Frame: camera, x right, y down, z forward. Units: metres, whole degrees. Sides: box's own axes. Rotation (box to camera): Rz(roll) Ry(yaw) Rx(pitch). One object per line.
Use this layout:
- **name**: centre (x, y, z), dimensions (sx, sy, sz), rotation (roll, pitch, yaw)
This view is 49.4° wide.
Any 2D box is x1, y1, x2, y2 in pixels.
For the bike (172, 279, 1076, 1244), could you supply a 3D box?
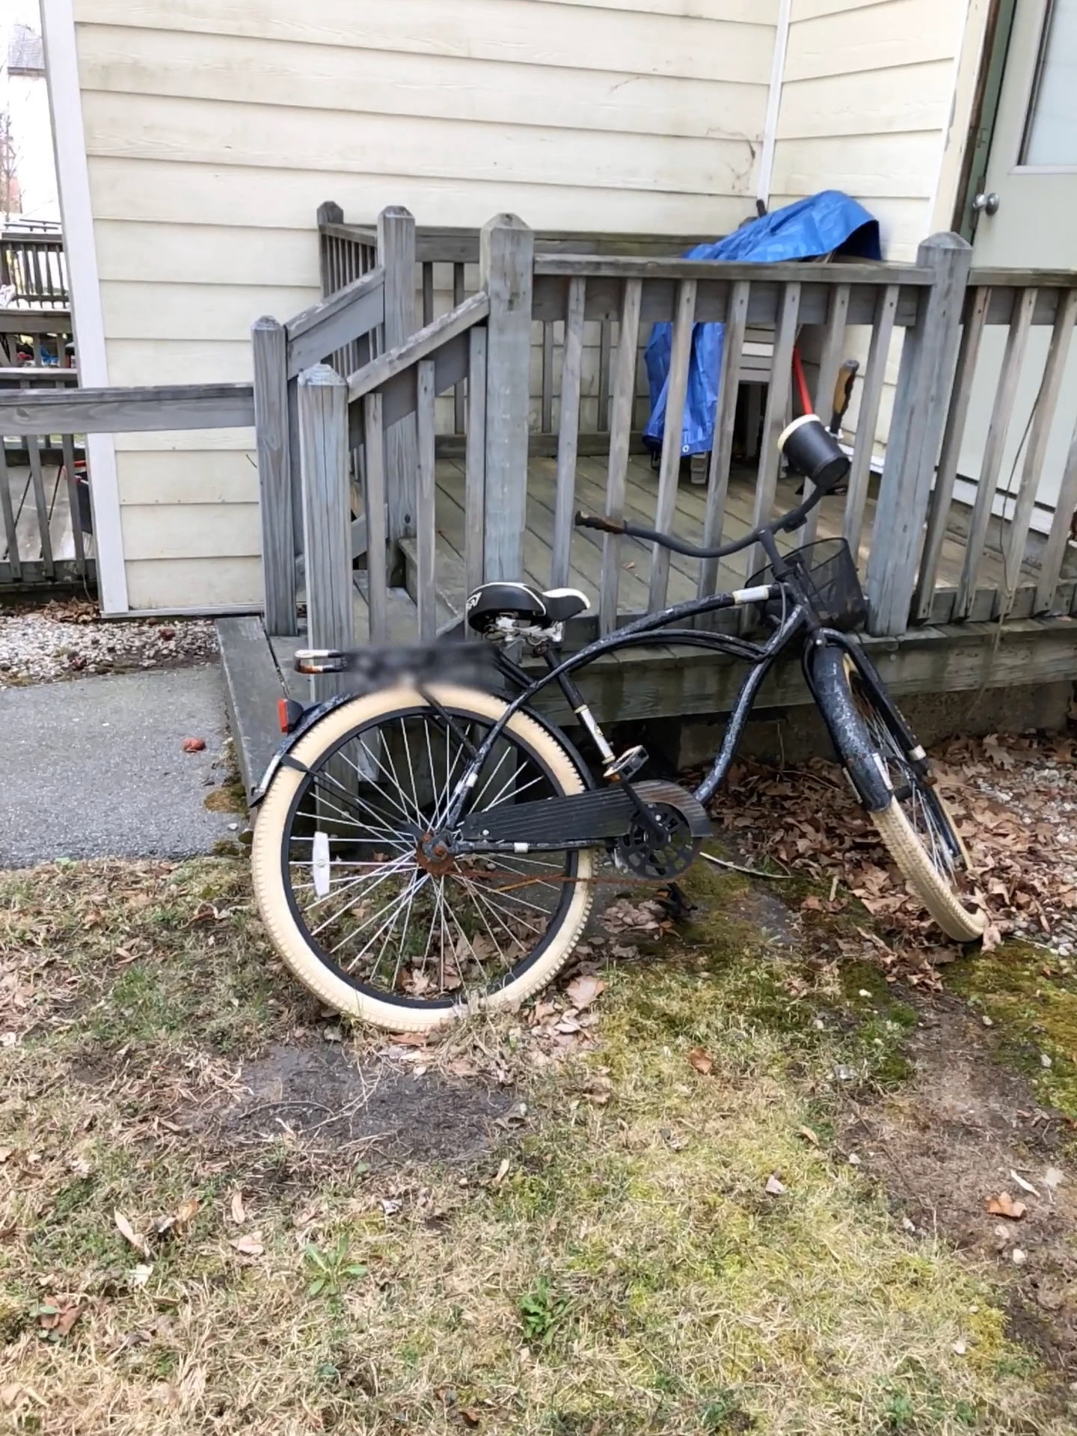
- **bike**: centre (0.394, -0.066, 2.297), dimensions (1.613, 1.314, 0.940), rotation (-14, 28, -27)
